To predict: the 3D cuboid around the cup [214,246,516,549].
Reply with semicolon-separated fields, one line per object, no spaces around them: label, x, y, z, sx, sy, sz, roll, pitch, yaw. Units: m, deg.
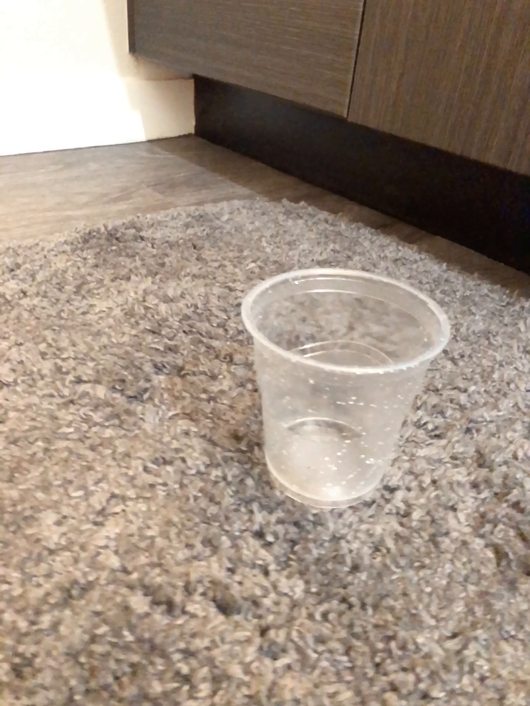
cup;0.034;0.013;0.268;0.090;0.090;0.090;4;32;-3
